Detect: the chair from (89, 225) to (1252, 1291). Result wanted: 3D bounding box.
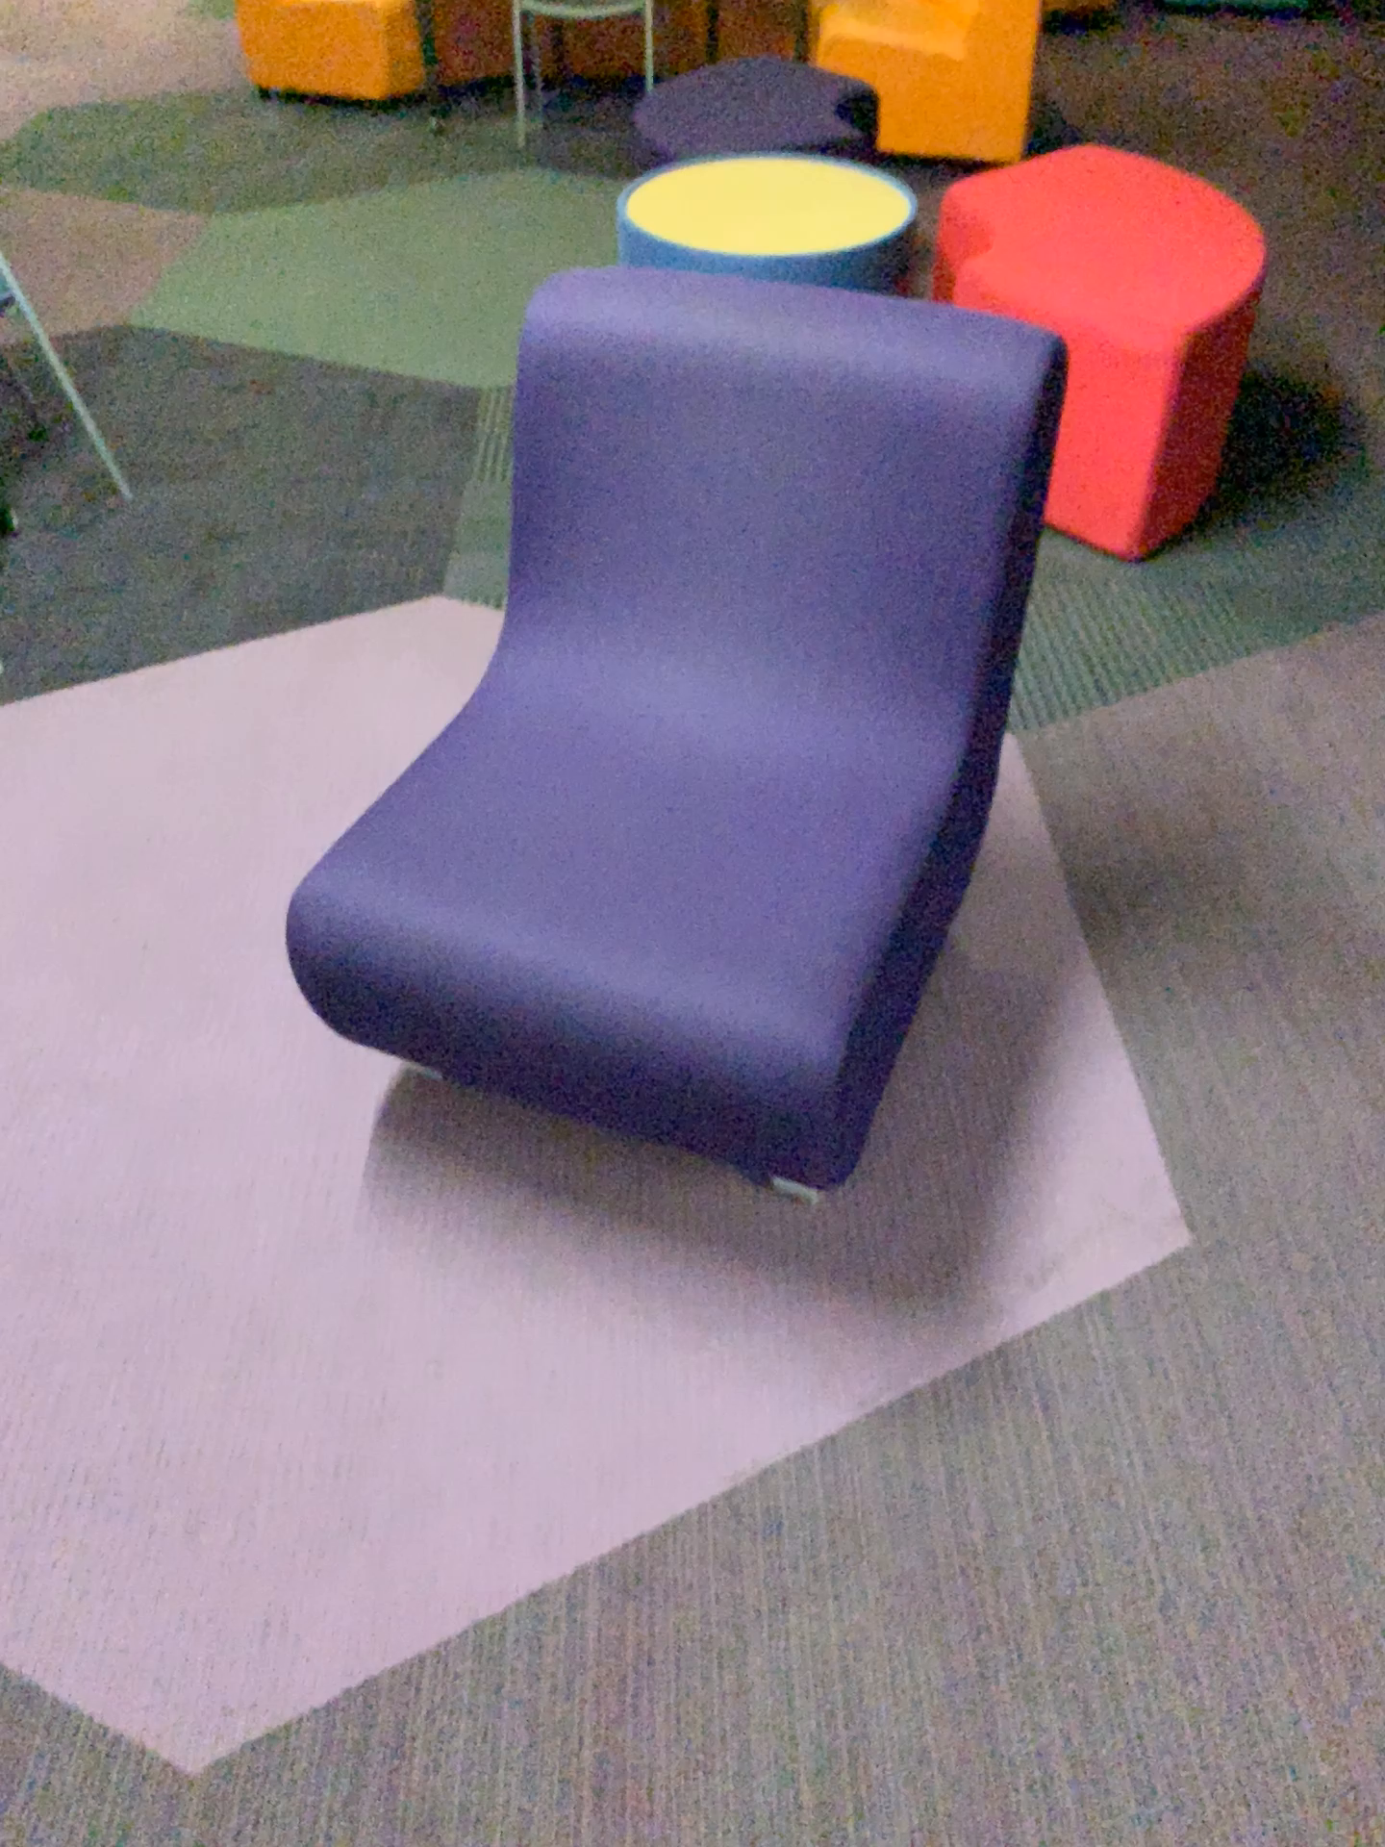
[{"bbox_3d":[0.053,-0.249,1.493,0.801,0.614,0.827,15,44,17],"label":"chair"}]
